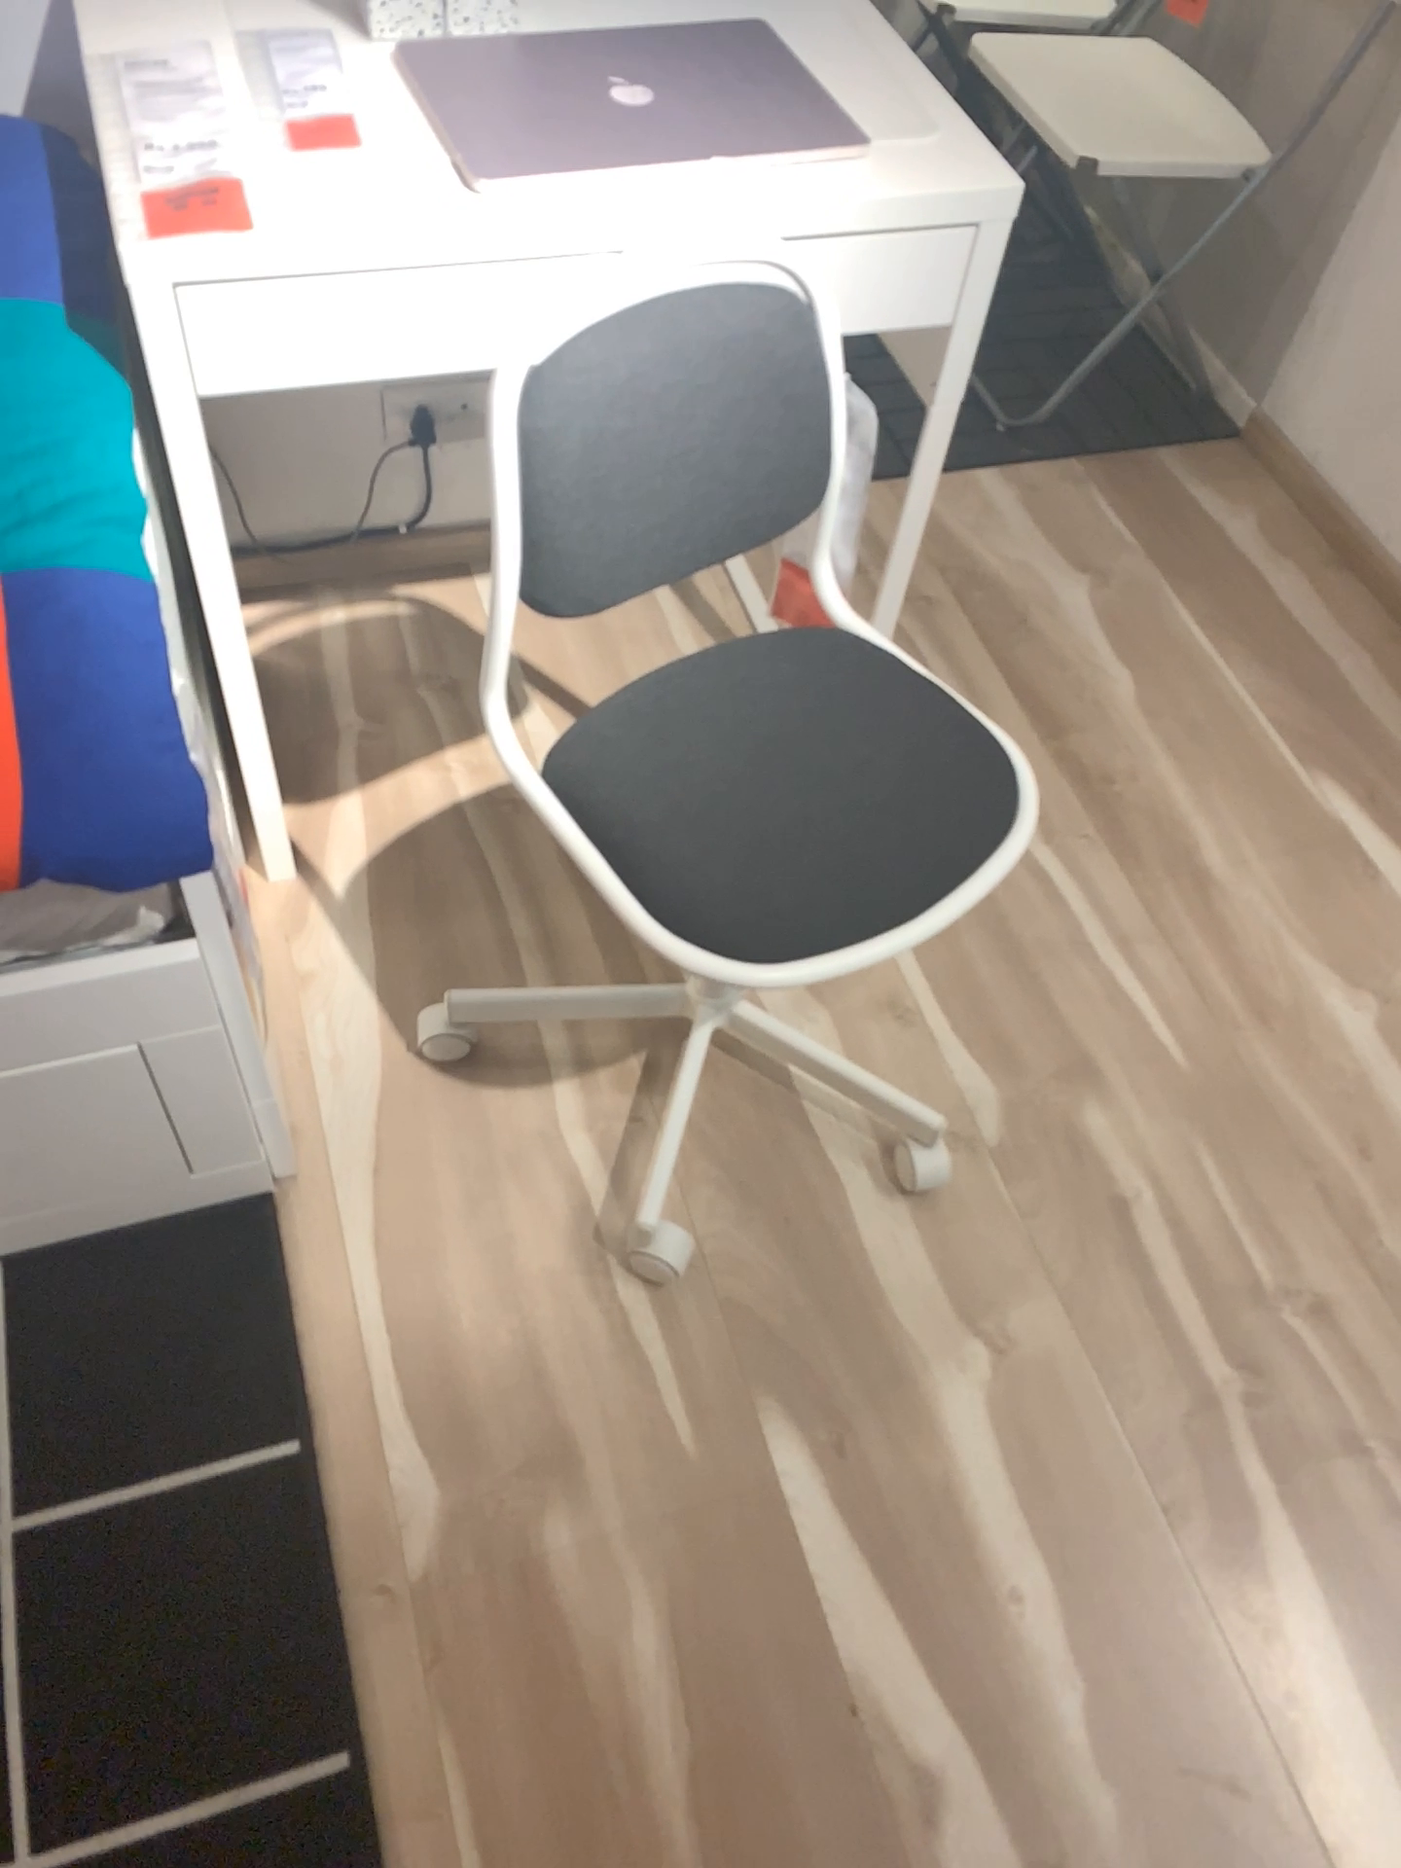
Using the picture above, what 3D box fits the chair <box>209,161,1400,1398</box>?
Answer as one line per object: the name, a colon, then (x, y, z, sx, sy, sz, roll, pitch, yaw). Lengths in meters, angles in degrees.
chair: (0.051, -0.124, 1.211, 0.551, 0.658, 0.621, -32, 63, -25)
